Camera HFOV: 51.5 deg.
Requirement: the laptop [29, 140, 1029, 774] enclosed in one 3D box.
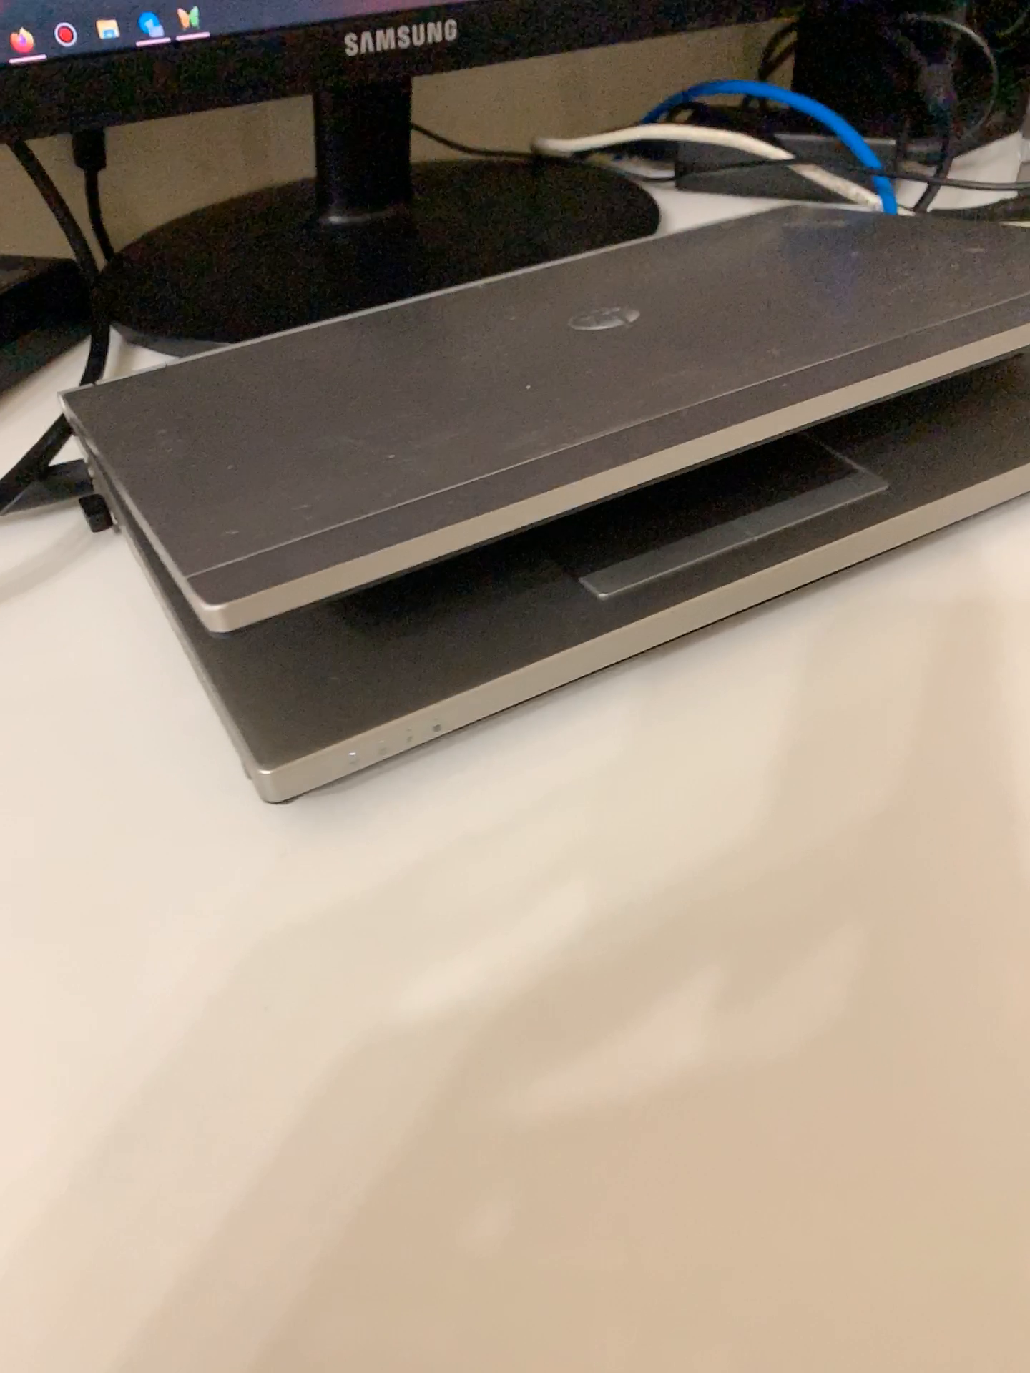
[{"bbox_3d":[0.028,-0.098,0.320,0.293,0.029,0.184,-22,46,-20],"label":"laptop"}]
